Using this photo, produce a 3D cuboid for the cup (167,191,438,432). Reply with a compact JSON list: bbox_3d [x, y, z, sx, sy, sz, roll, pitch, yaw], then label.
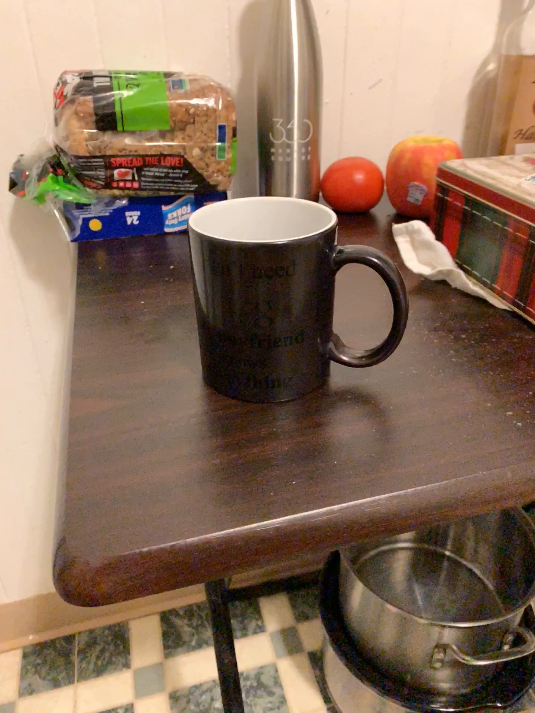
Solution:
[{"bbox_3d":[0.023,-0.031,0.321,0.130,0.099,0.080,8,32,14],"label":"cup"}]
